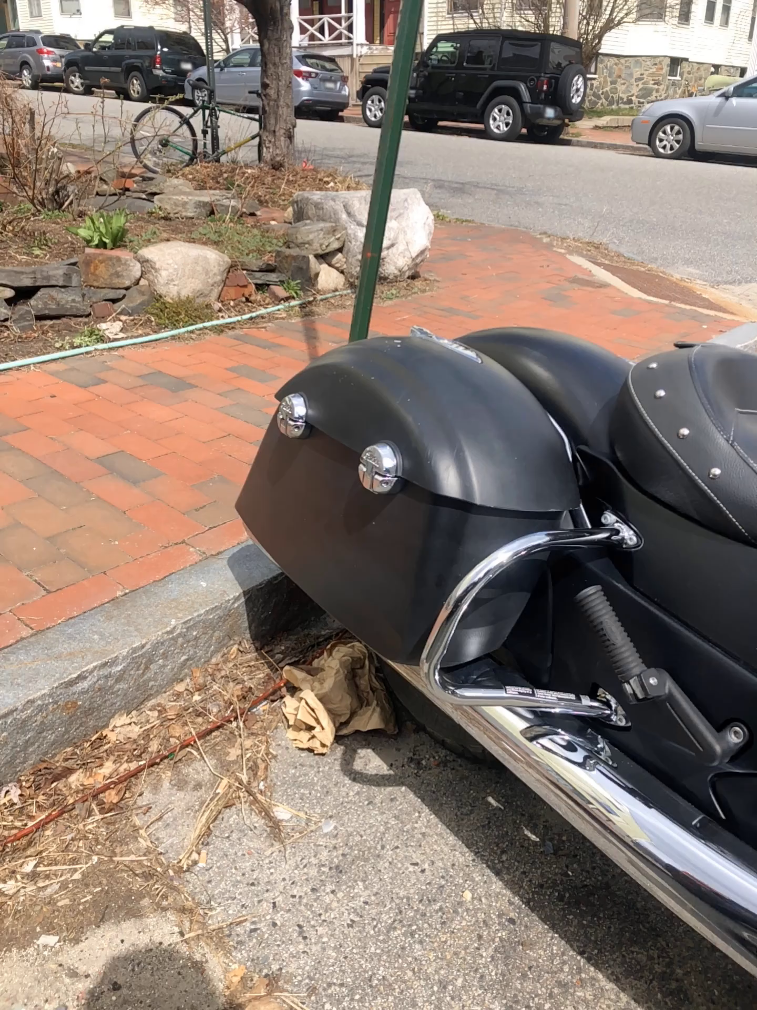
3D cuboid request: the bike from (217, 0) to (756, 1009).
[{"bbox_3d":[0.775,0.204,0.653,0.783,1.237,2.132,-18,31,-34],"label":"bike"}]
